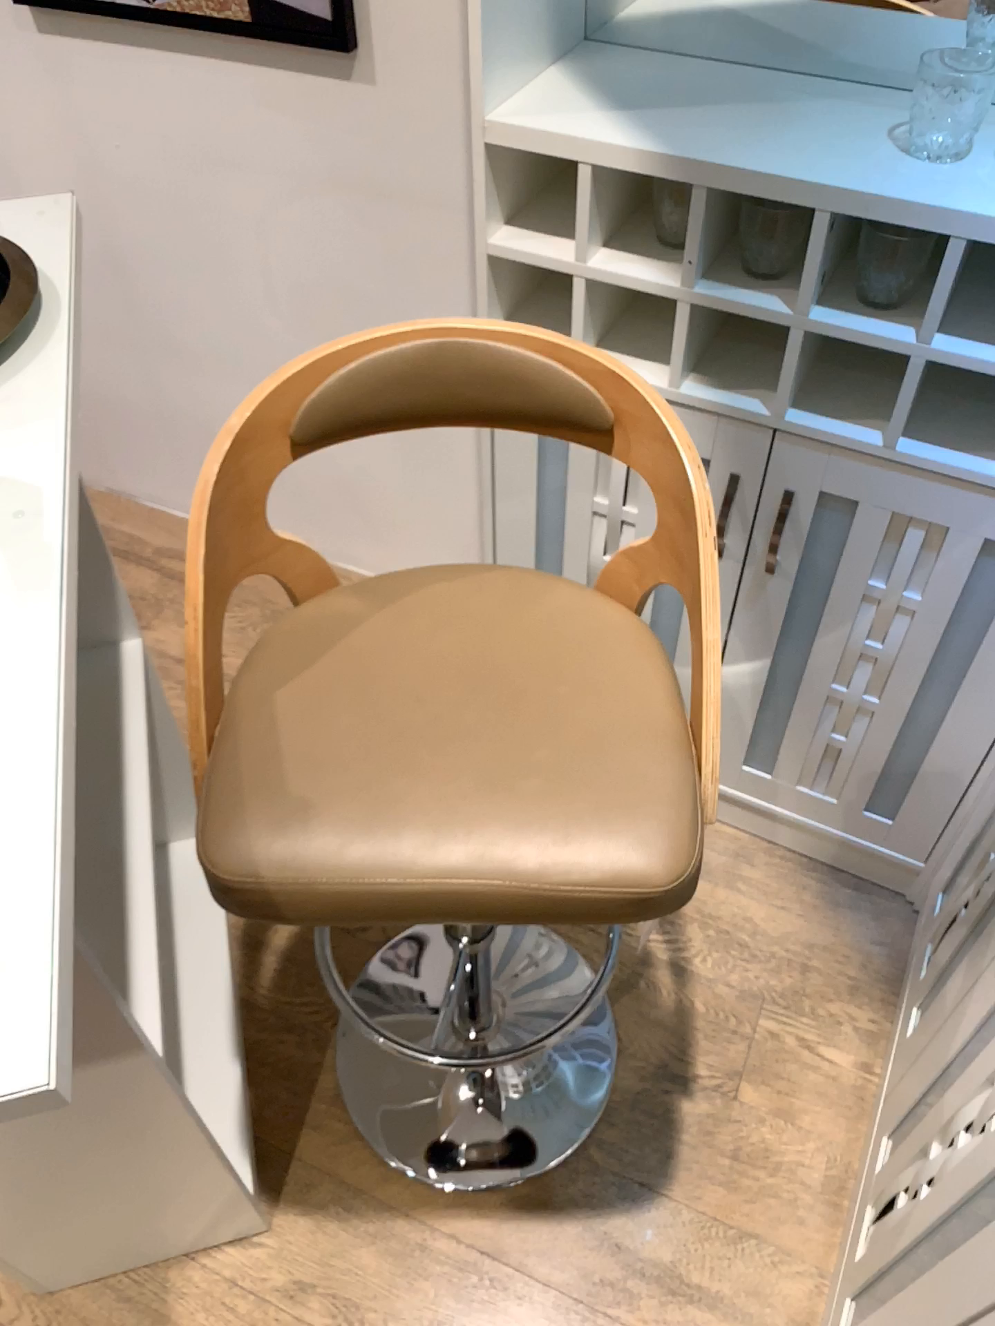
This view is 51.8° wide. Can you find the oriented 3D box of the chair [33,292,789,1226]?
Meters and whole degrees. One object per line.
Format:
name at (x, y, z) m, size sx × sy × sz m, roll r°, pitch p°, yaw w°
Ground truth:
chair at (-0.034, 0.206, 1.122) m, size 0.430 × 1.046 × 0.462 m, roll 3°, pitch 48°, yaw 3°
